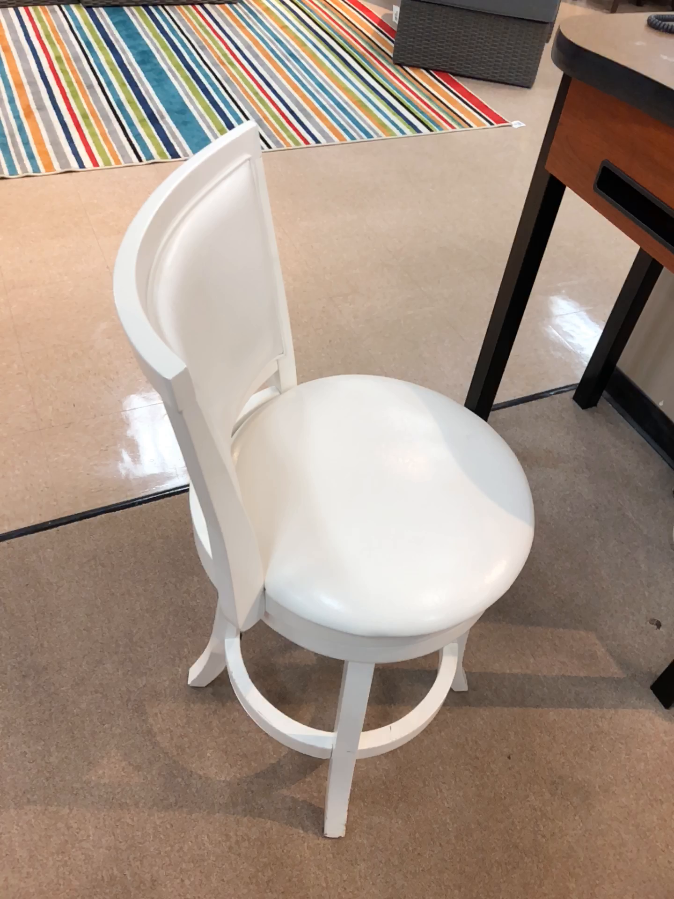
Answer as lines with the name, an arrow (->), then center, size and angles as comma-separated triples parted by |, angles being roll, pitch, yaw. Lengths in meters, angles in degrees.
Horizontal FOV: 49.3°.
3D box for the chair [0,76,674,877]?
chair -> 0.036, 0.103, 1.077 | 0.570, 0.944, 0.624 | 9, 46, 2
